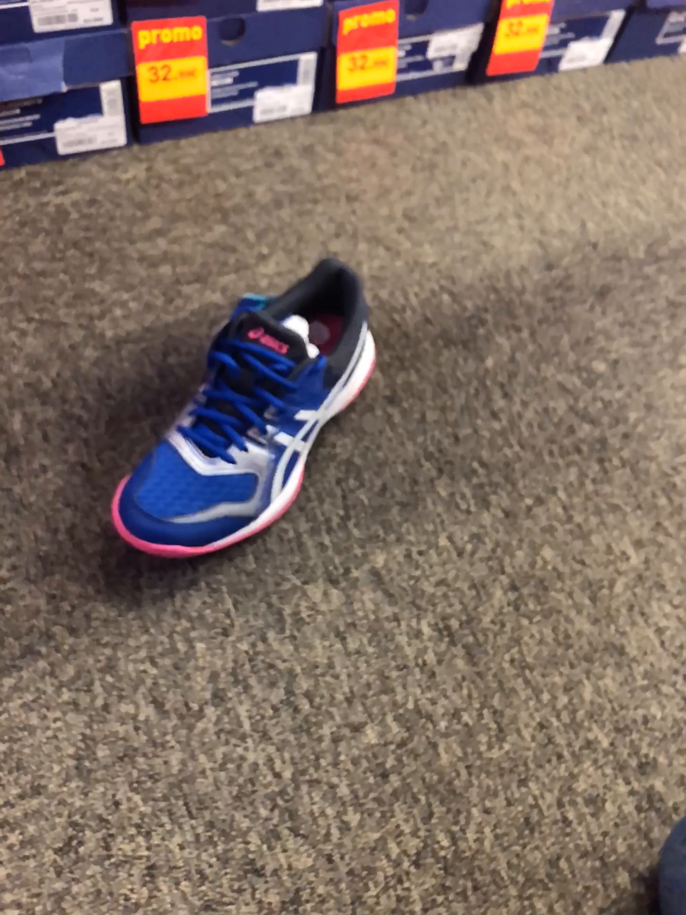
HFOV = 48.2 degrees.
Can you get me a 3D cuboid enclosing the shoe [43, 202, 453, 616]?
[{"bbox_3d":[-0.054,-0.044,0.545,0.125,0.100,0.271,34,60,11],"label":"shoe"}]
